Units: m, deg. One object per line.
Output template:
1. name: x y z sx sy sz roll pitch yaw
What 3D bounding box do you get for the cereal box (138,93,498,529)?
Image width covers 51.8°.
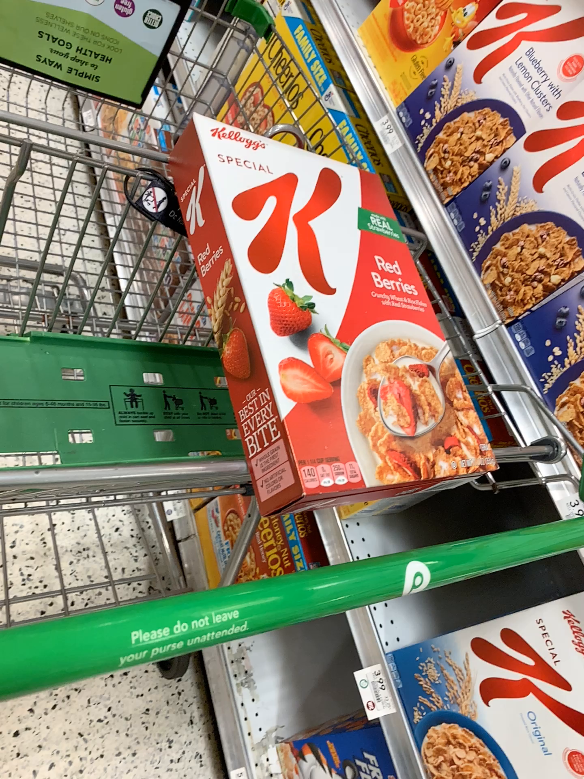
1. cereal box: 0.018 -0.061 0.450 0.201 0.059 0.291 0 64 -40
